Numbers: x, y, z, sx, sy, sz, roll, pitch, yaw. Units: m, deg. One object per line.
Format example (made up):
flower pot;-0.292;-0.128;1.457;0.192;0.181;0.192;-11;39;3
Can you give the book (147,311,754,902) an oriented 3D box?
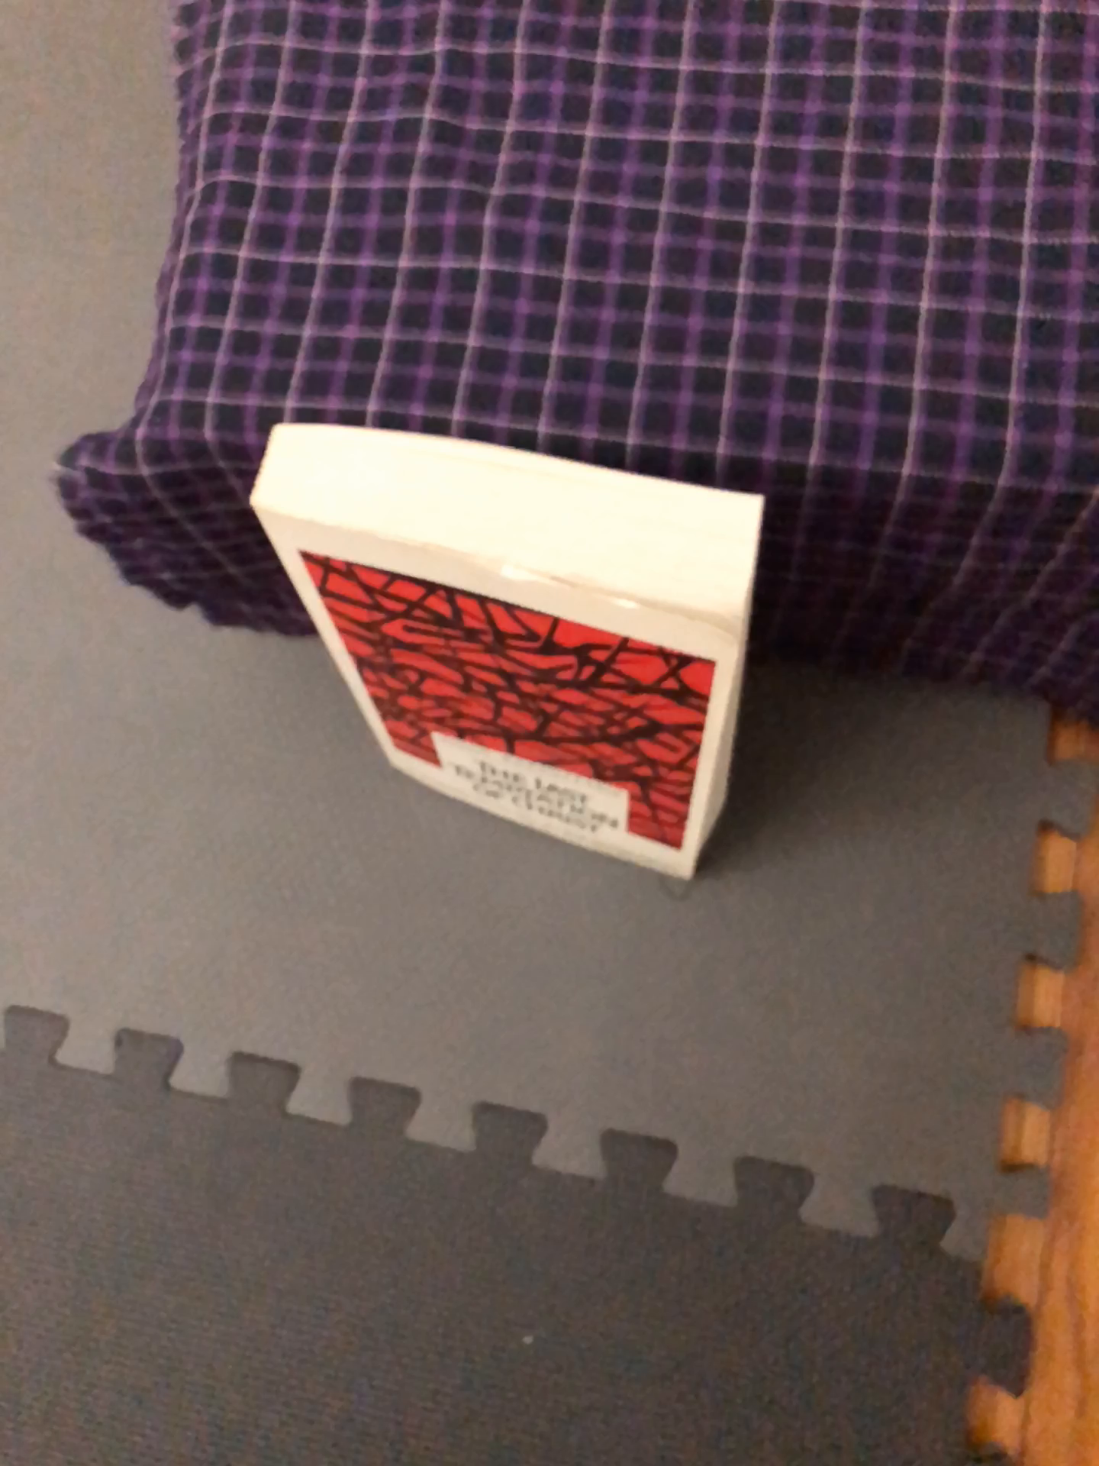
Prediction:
book;-0.016;-0.025;0.405;0.150;0.210;0.050;24;73;16
